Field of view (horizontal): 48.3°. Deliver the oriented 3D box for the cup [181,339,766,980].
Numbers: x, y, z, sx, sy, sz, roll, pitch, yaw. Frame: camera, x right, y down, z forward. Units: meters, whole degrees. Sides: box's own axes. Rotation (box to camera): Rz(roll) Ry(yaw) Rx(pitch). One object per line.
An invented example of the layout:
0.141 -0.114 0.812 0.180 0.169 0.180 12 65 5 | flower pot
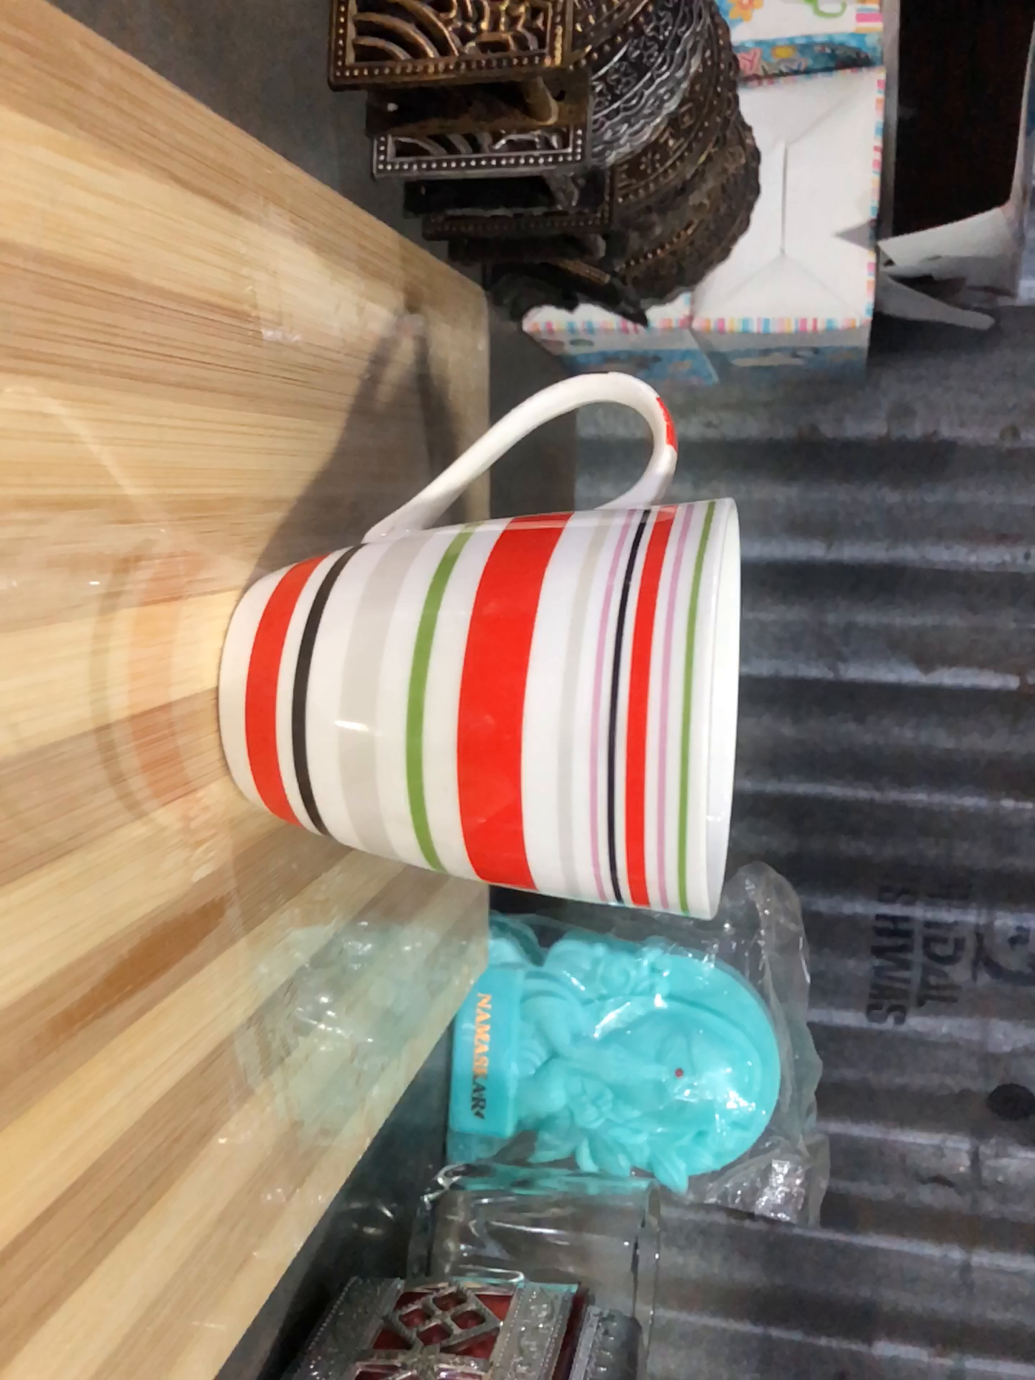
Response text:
-0.002 -0.012 0.243 0.080 0.100 0.110 -44 136 -73 | cup
